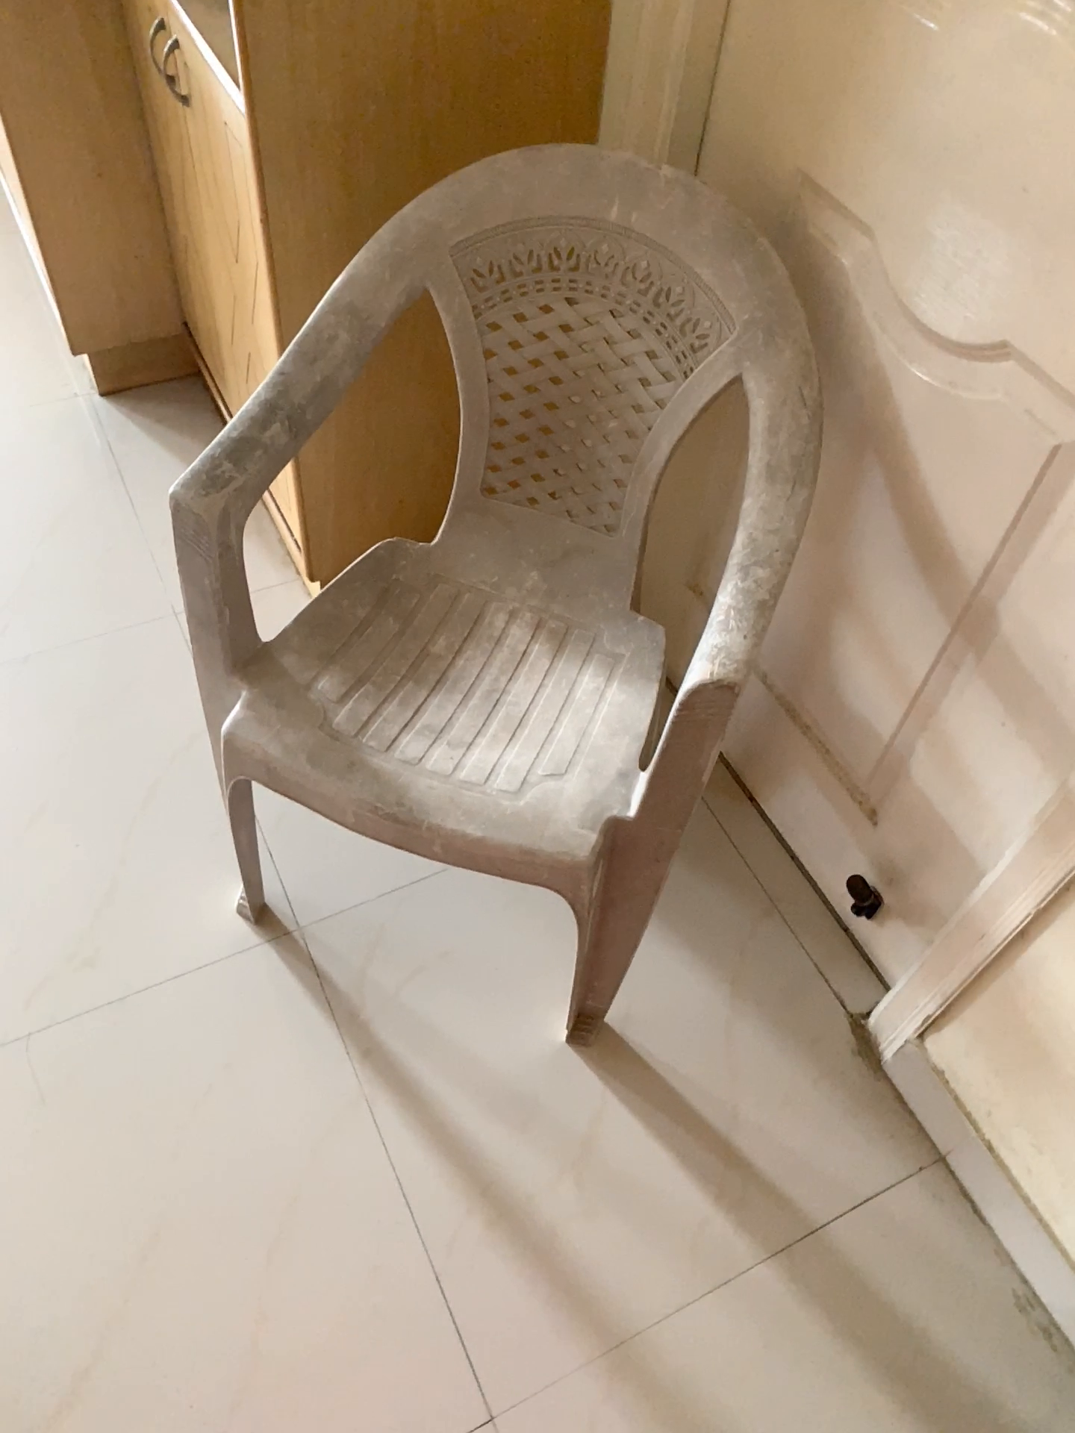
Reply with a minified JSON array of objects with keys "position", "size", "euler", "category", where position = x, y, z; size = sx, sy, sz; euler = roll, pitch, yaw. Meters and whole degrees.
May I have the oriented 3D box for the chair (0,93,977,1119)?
[{"position":[-0.008,-0.109,1.219],"size":[0.610,0.725,0.674],"euler":[21,53,10],"category":"chair"}]
